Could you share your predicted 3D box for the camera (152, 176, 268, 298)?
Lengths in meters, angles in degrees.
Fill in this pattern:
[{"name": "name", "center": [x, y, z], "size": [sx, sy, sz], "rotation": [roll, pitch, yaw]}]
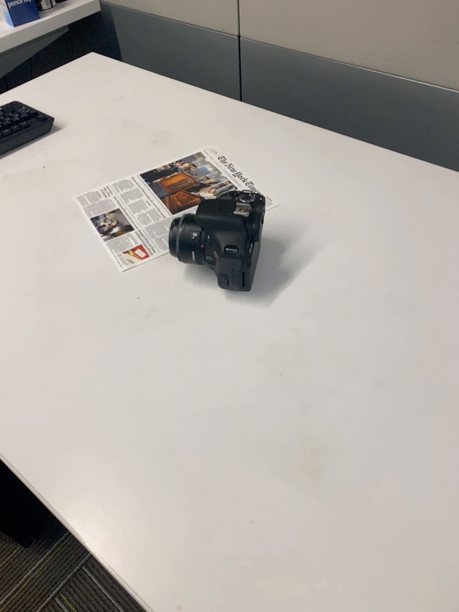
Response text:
[{"name": "camera", "center": [-0.019, -0.088, 0.586], "size": [0.114, 0.090, 0.109], "rotation": [9, 51, 10]}]
